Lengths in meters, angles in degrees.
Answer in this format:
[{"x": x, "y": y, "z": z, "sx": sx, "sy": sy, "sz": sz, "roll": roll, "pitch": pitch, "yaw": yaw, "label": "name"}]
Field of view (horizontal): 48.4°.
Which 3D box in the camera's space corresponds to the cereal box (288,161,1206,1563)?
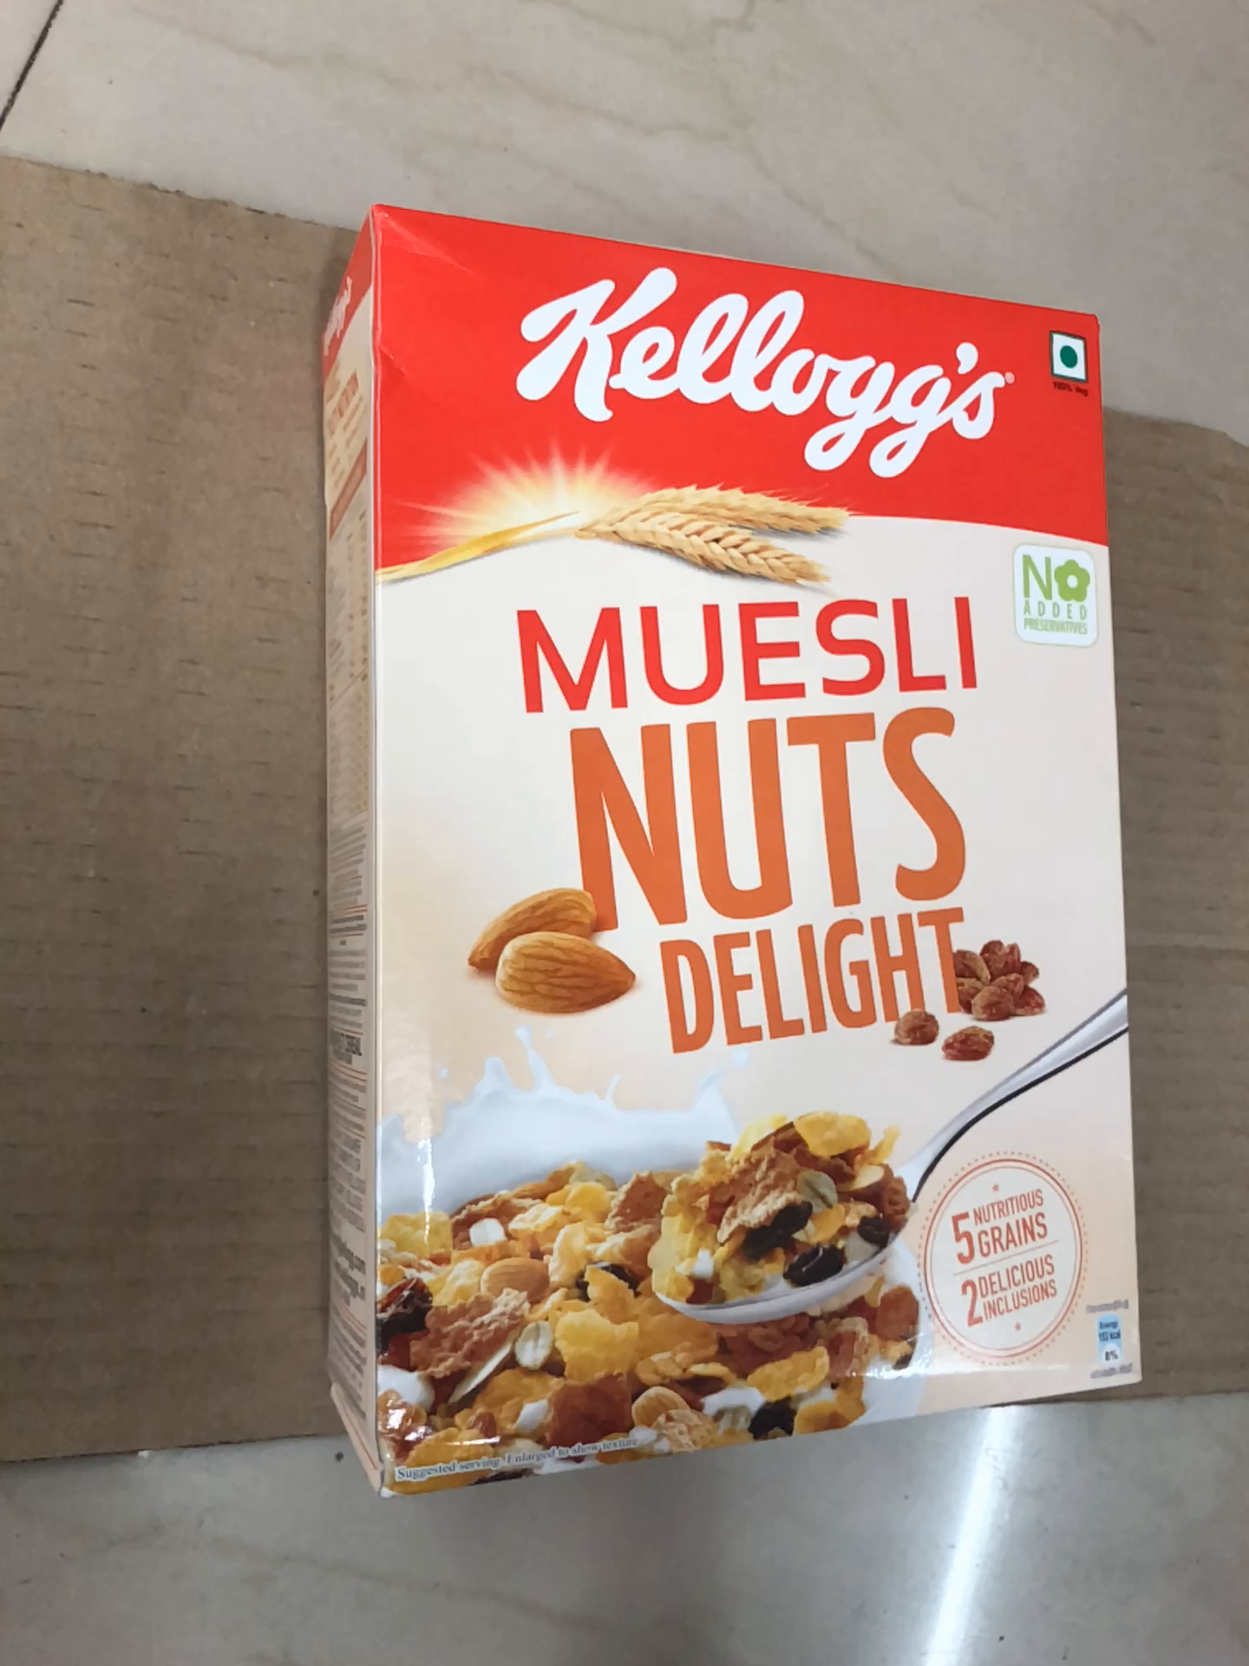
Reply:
[{"x": 0.026, "y": 0.004, "z": 0.318, "sx": 0.190, "sy": 0.080, "sz": 0.250, "roll": -1, "pitch": 90, "yaw": -20, "label": "cereal box"}]
